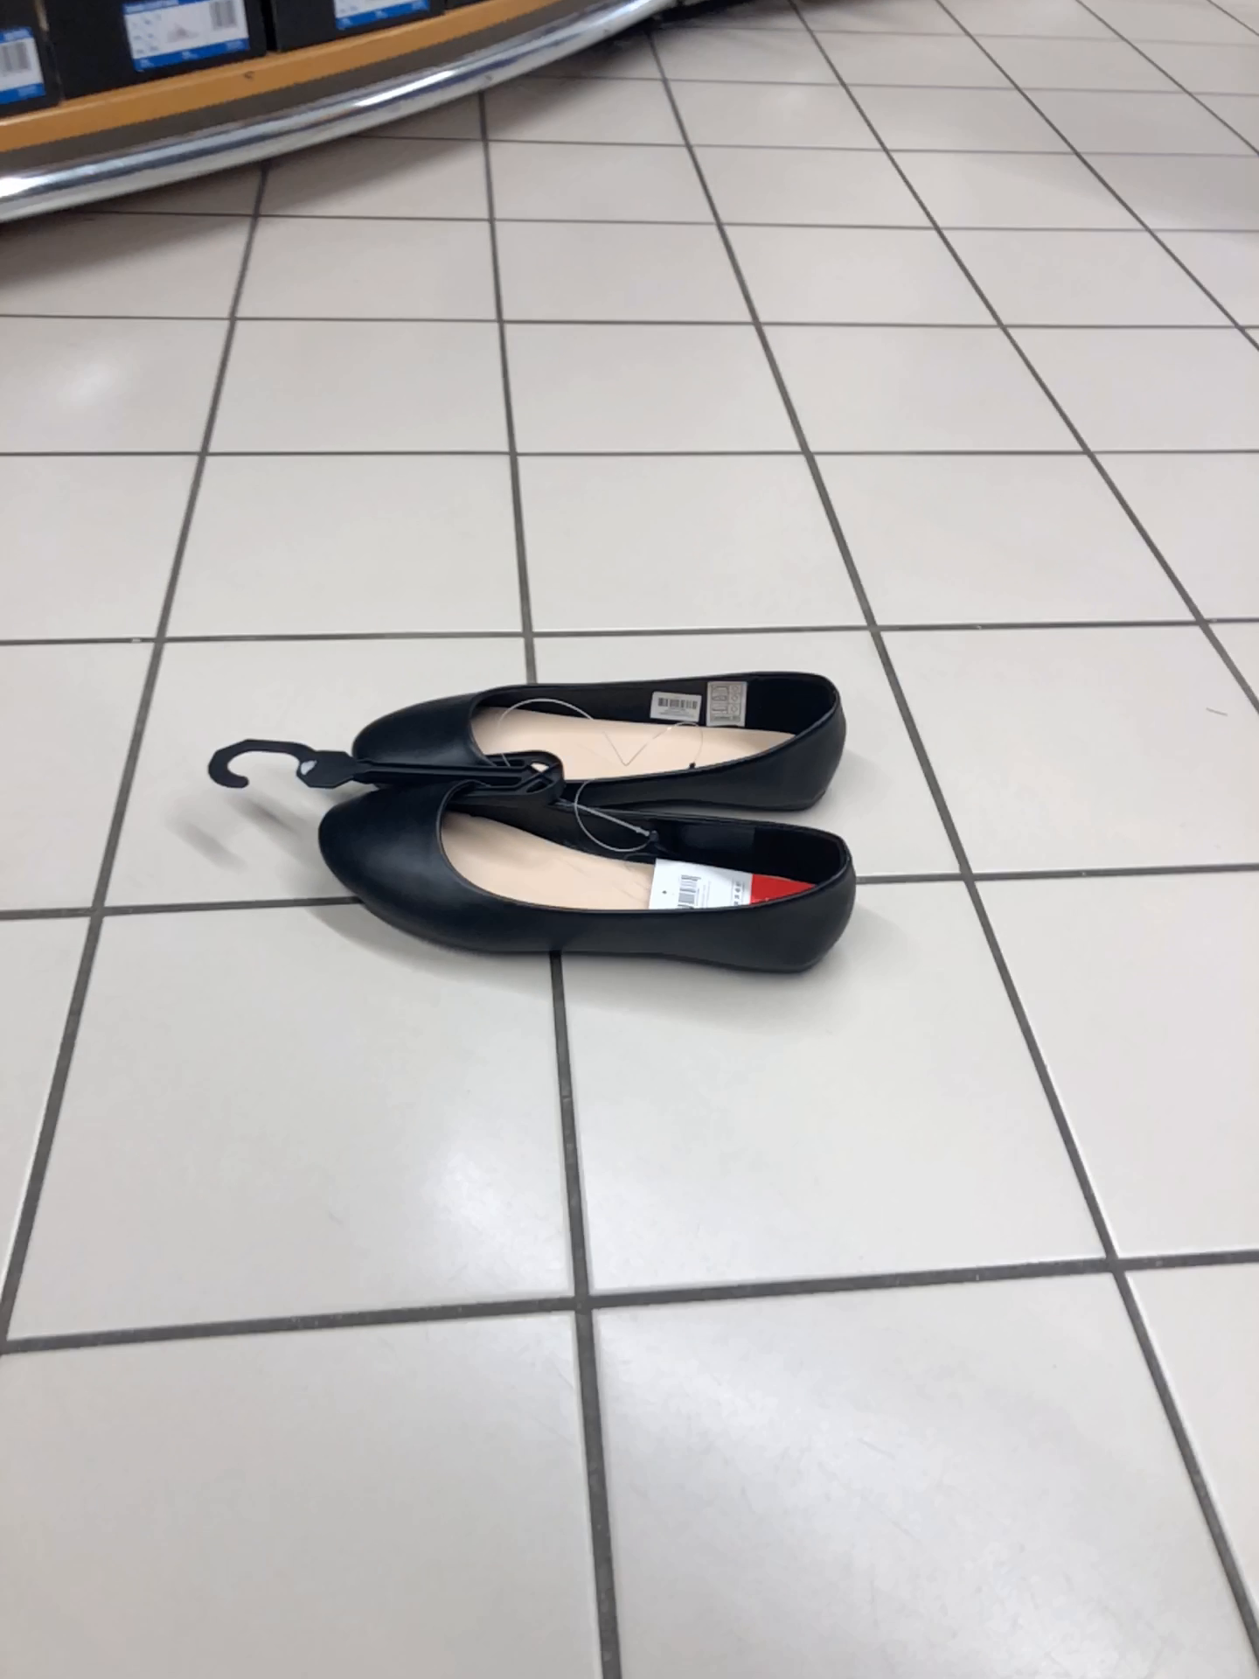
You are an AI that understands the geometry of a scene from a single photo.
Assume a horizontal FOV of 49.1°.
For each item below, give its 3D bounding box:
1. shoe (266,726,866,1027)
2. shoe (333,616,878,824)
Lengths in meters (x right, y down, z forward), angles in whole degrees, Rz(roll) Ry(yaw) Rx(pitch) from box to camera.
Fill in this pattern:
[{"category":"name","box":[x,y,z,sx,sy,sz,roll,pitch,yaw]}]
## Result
[{"category":"shoe","box":[-0.025,0.015,0.619,0.250,0.060,0.081,8,44,4]},{"category":"shoe","box":[-0.012,-0.059,0.680,0.250,0.060,0.080,1,44,-4]}]
